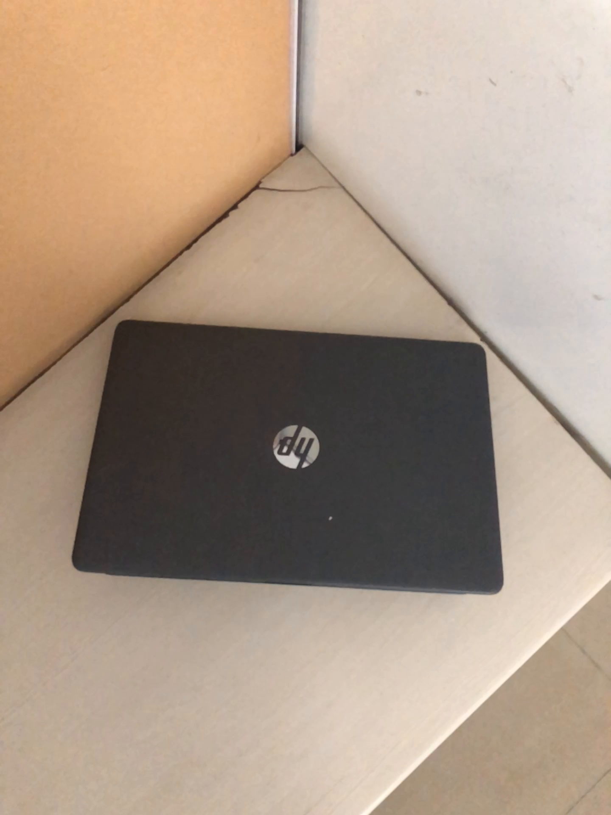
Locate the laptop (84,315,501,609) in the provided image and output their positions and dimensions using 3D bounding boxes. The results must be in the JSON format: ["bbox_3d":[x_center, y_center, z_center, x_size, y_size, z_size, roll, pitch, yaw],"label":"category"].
[{"bbox_3d":[-0.010,0.052,0.640,0.361,0.074,0.237,4,88,-1],"label":"laptop"}]
